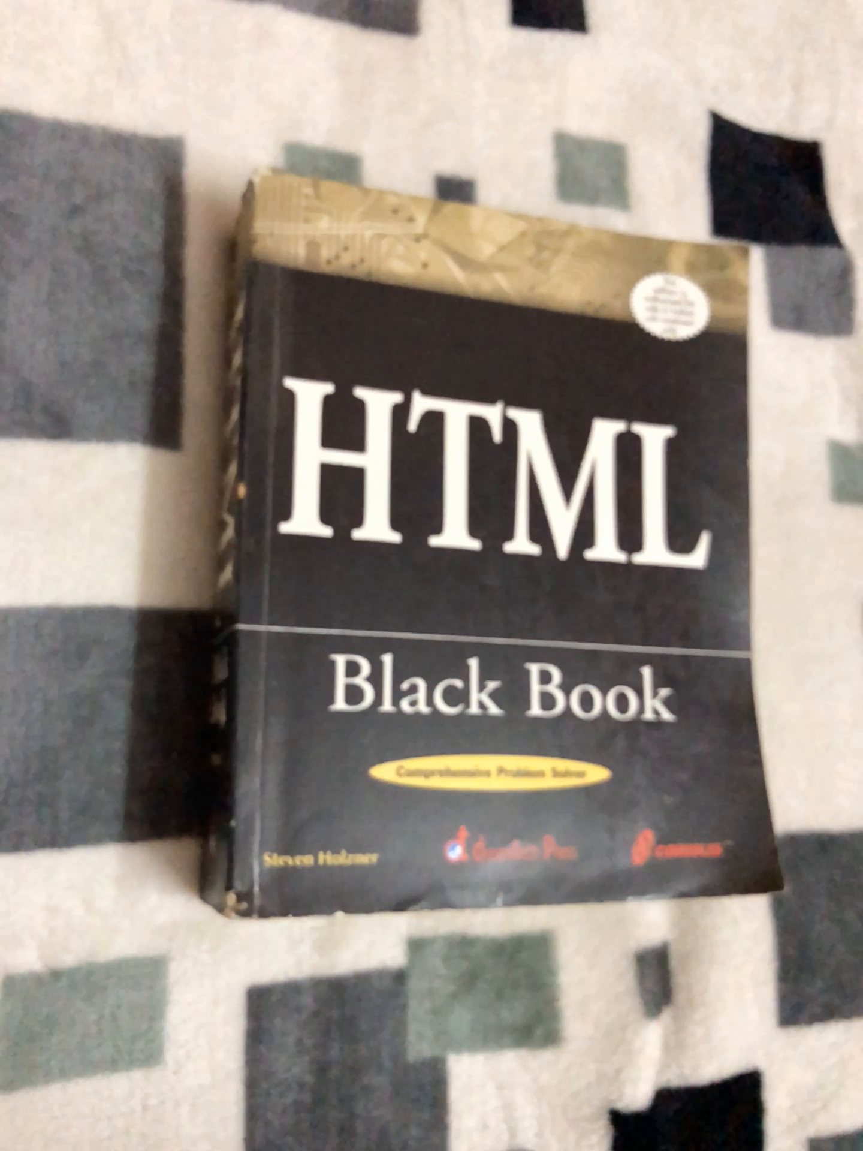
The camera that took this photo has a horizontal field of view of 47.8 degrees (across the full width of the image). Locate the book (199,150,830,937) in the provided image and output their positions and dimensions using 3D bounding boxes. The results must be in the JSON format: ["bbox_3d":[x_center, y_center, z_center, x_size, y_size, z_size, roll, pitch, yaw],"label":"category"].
[{"bbox_3d":[0.024,-0.007,0.337,0.190,0.070,0.230,3,77,-17],"label":"book"}]
